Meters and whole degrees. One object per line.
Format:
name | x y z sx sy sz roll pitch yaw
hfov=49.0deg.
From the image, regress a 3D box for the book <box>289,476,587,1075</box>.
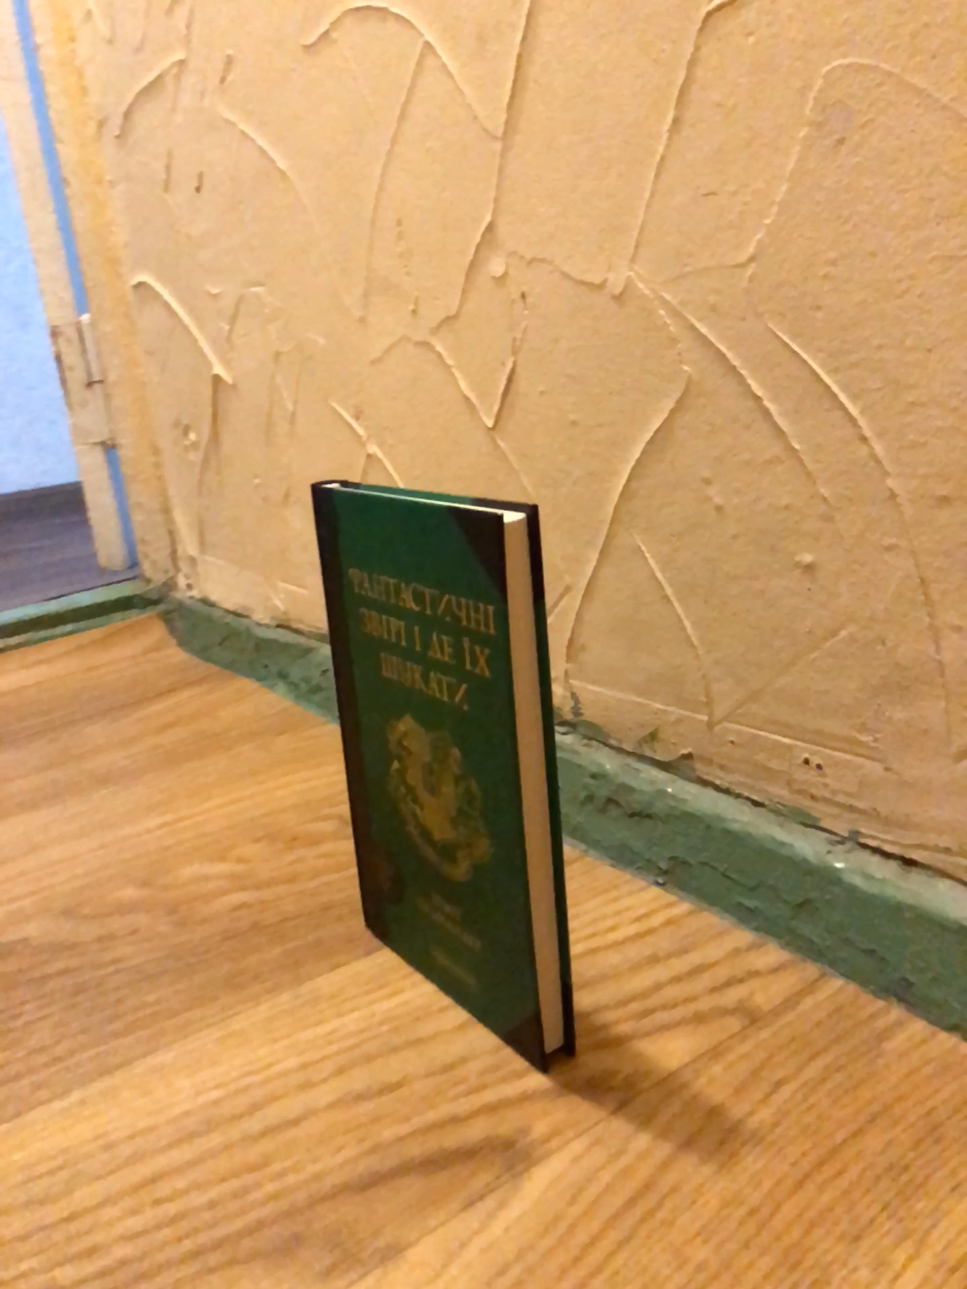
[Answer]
book | -0.022 0.039 0.410 0.024 0.197 0.148 -14 17 -32
